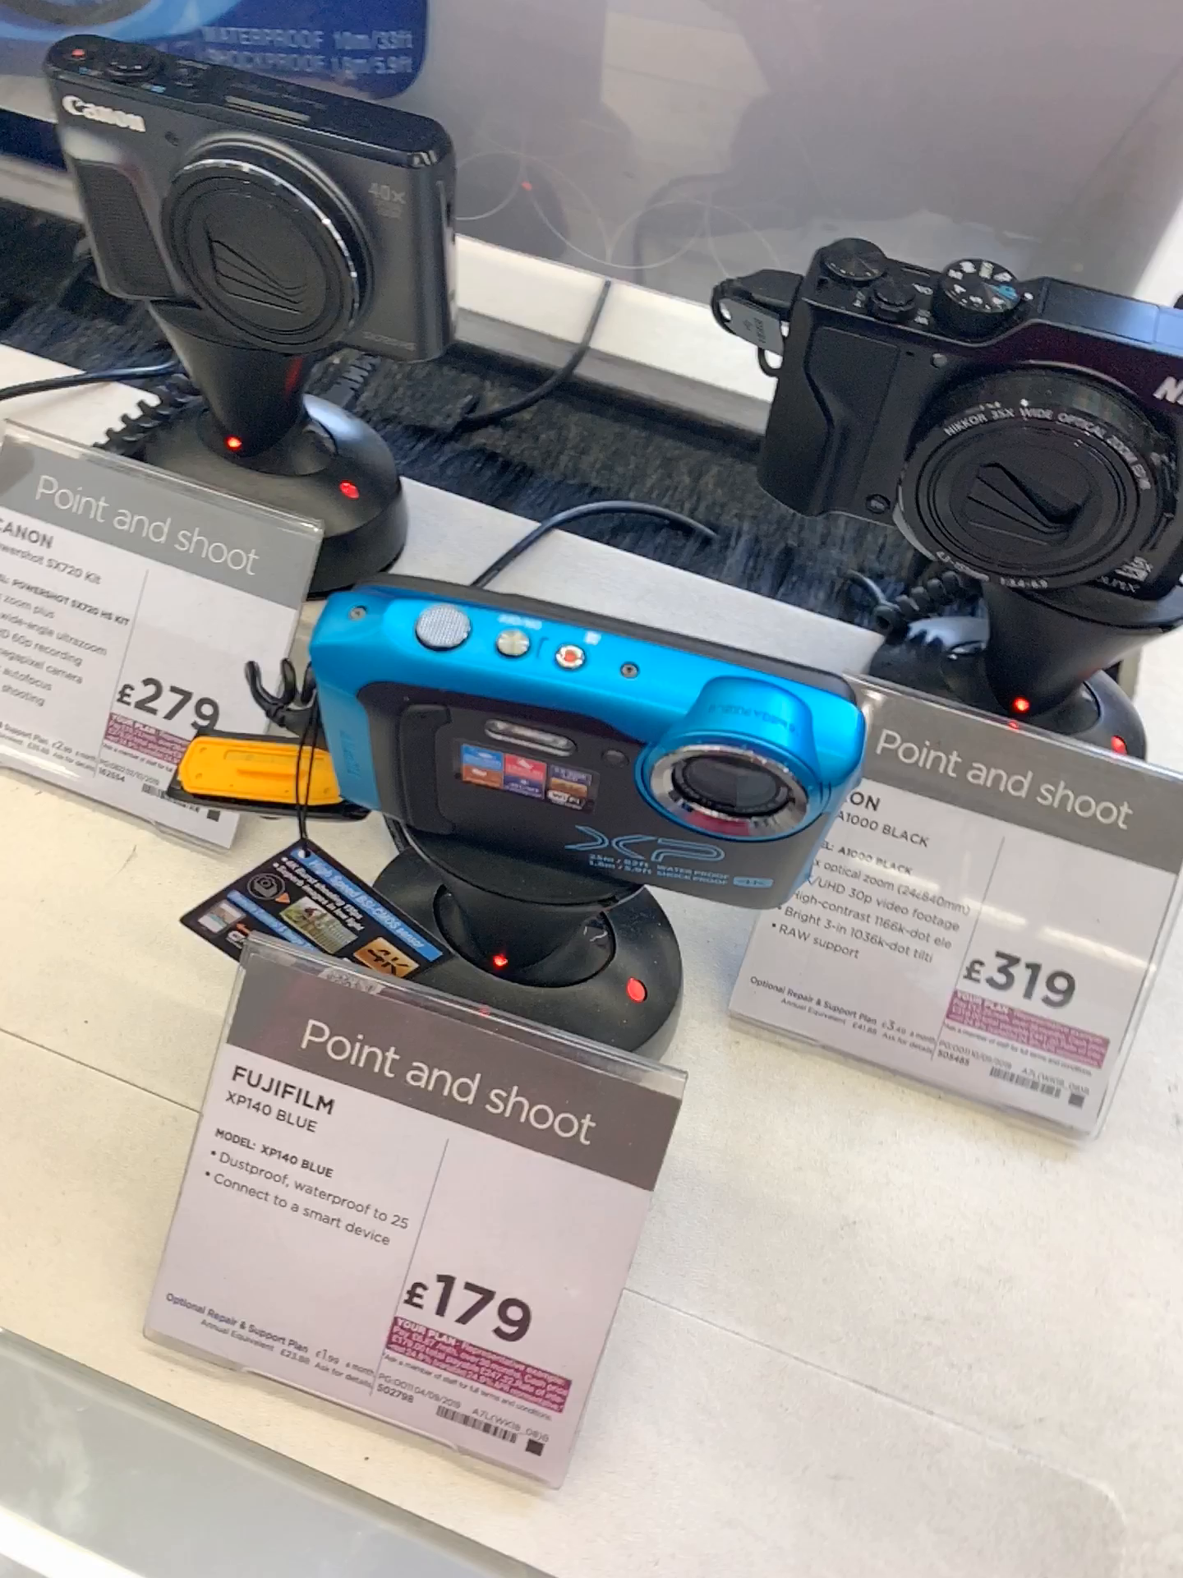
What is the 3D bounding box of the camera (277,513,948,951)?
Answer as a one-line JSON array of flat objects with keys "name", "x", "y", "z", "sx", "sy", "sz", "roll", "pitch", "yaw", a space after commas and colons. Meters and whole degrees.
[{"name": "camera", "x": 0.003, "y": -0.008, "z": 0.231, "sx": 0.110, "sy": 0.060, "sz": 0.030, "roll": 14, "pitch": 58, "yaw": 4}]
